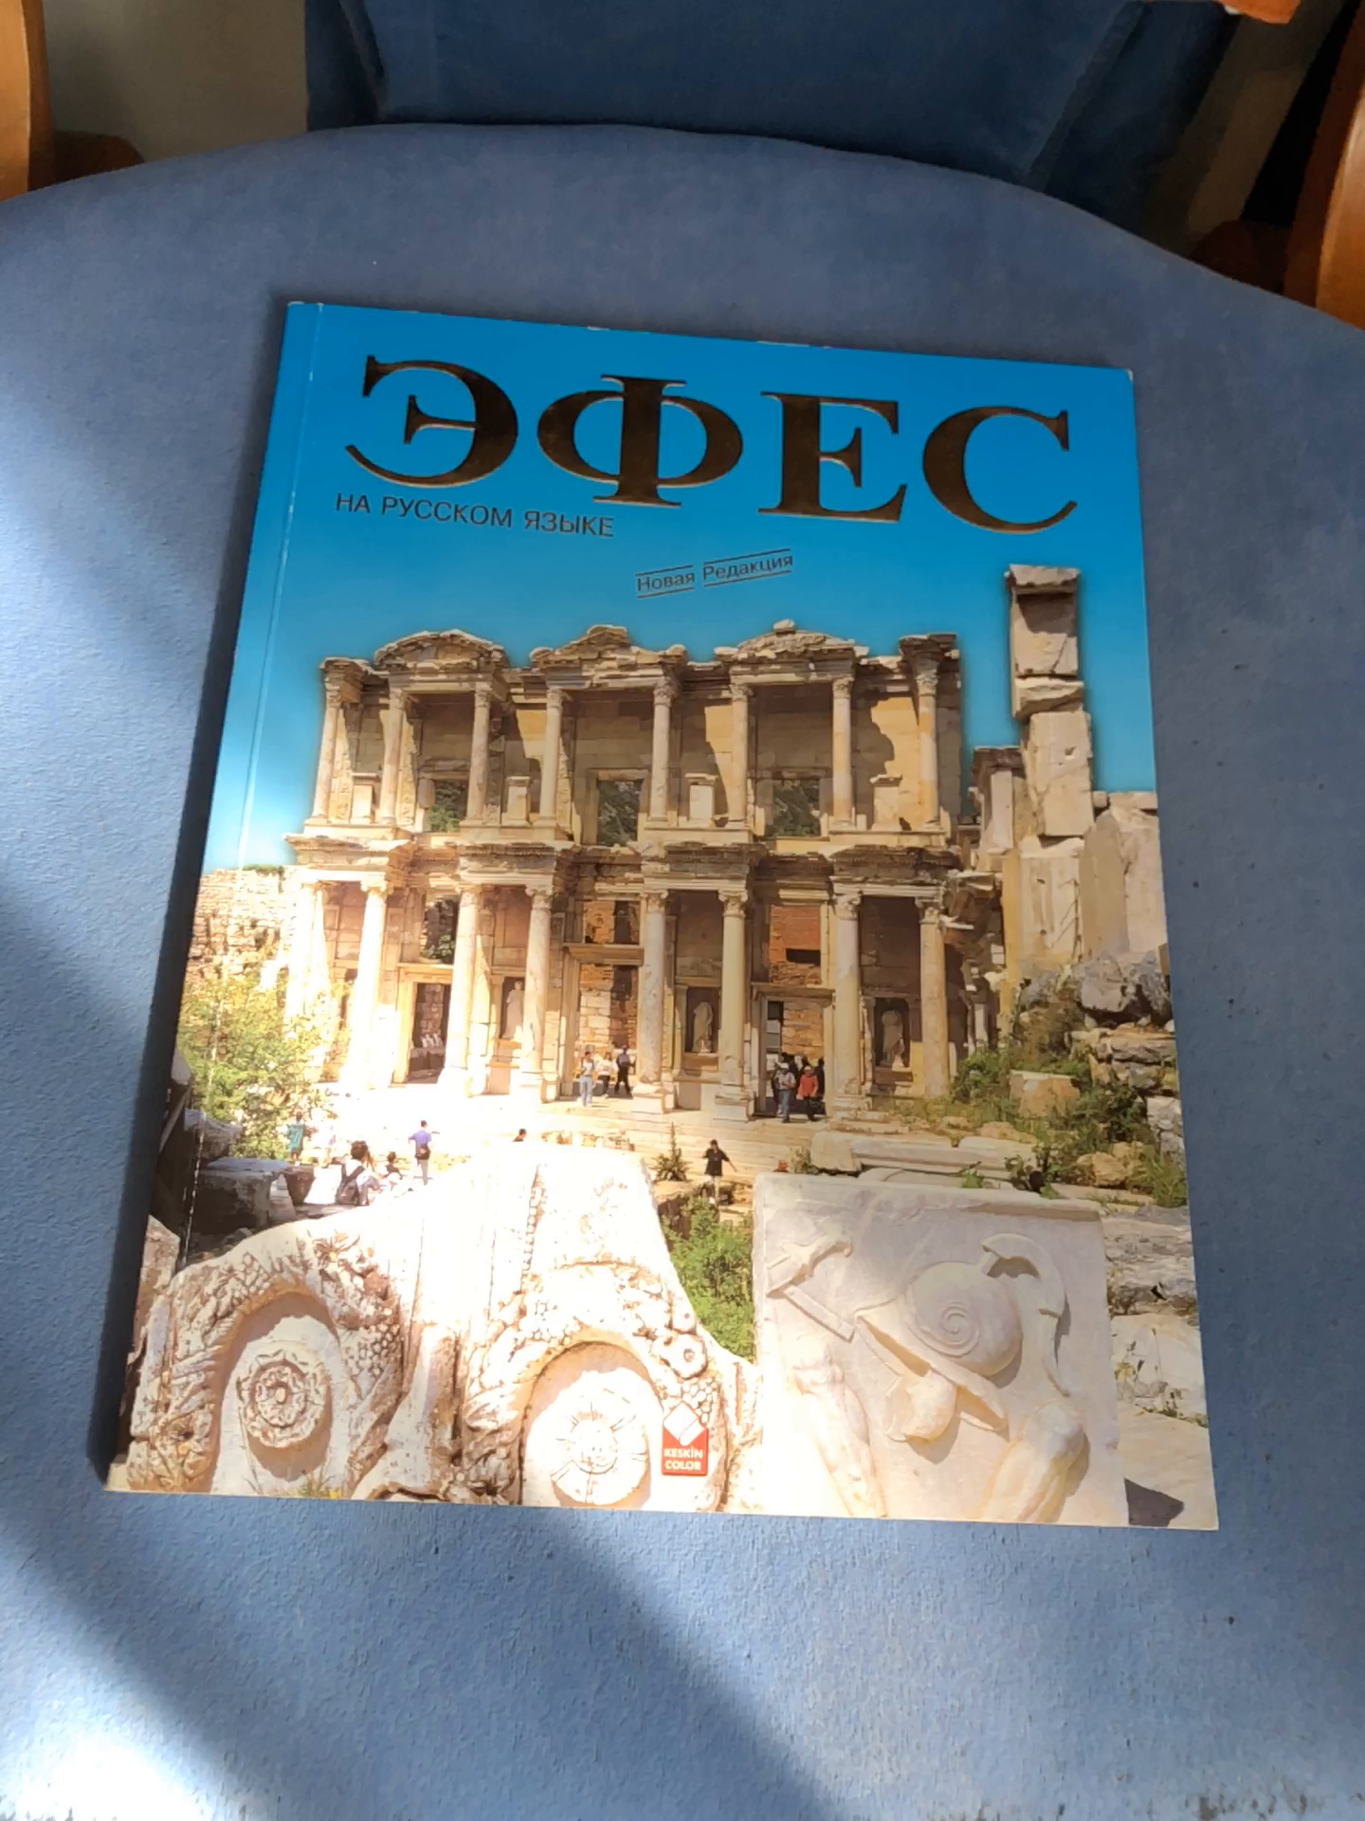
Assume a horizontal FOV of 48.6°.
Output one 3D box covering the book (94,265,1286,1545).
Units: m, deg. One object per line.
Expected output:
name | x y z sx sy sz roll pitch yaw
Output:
book | 0.008 -0.011 0.294 0.196 0.020 0.241 4 72 -4
